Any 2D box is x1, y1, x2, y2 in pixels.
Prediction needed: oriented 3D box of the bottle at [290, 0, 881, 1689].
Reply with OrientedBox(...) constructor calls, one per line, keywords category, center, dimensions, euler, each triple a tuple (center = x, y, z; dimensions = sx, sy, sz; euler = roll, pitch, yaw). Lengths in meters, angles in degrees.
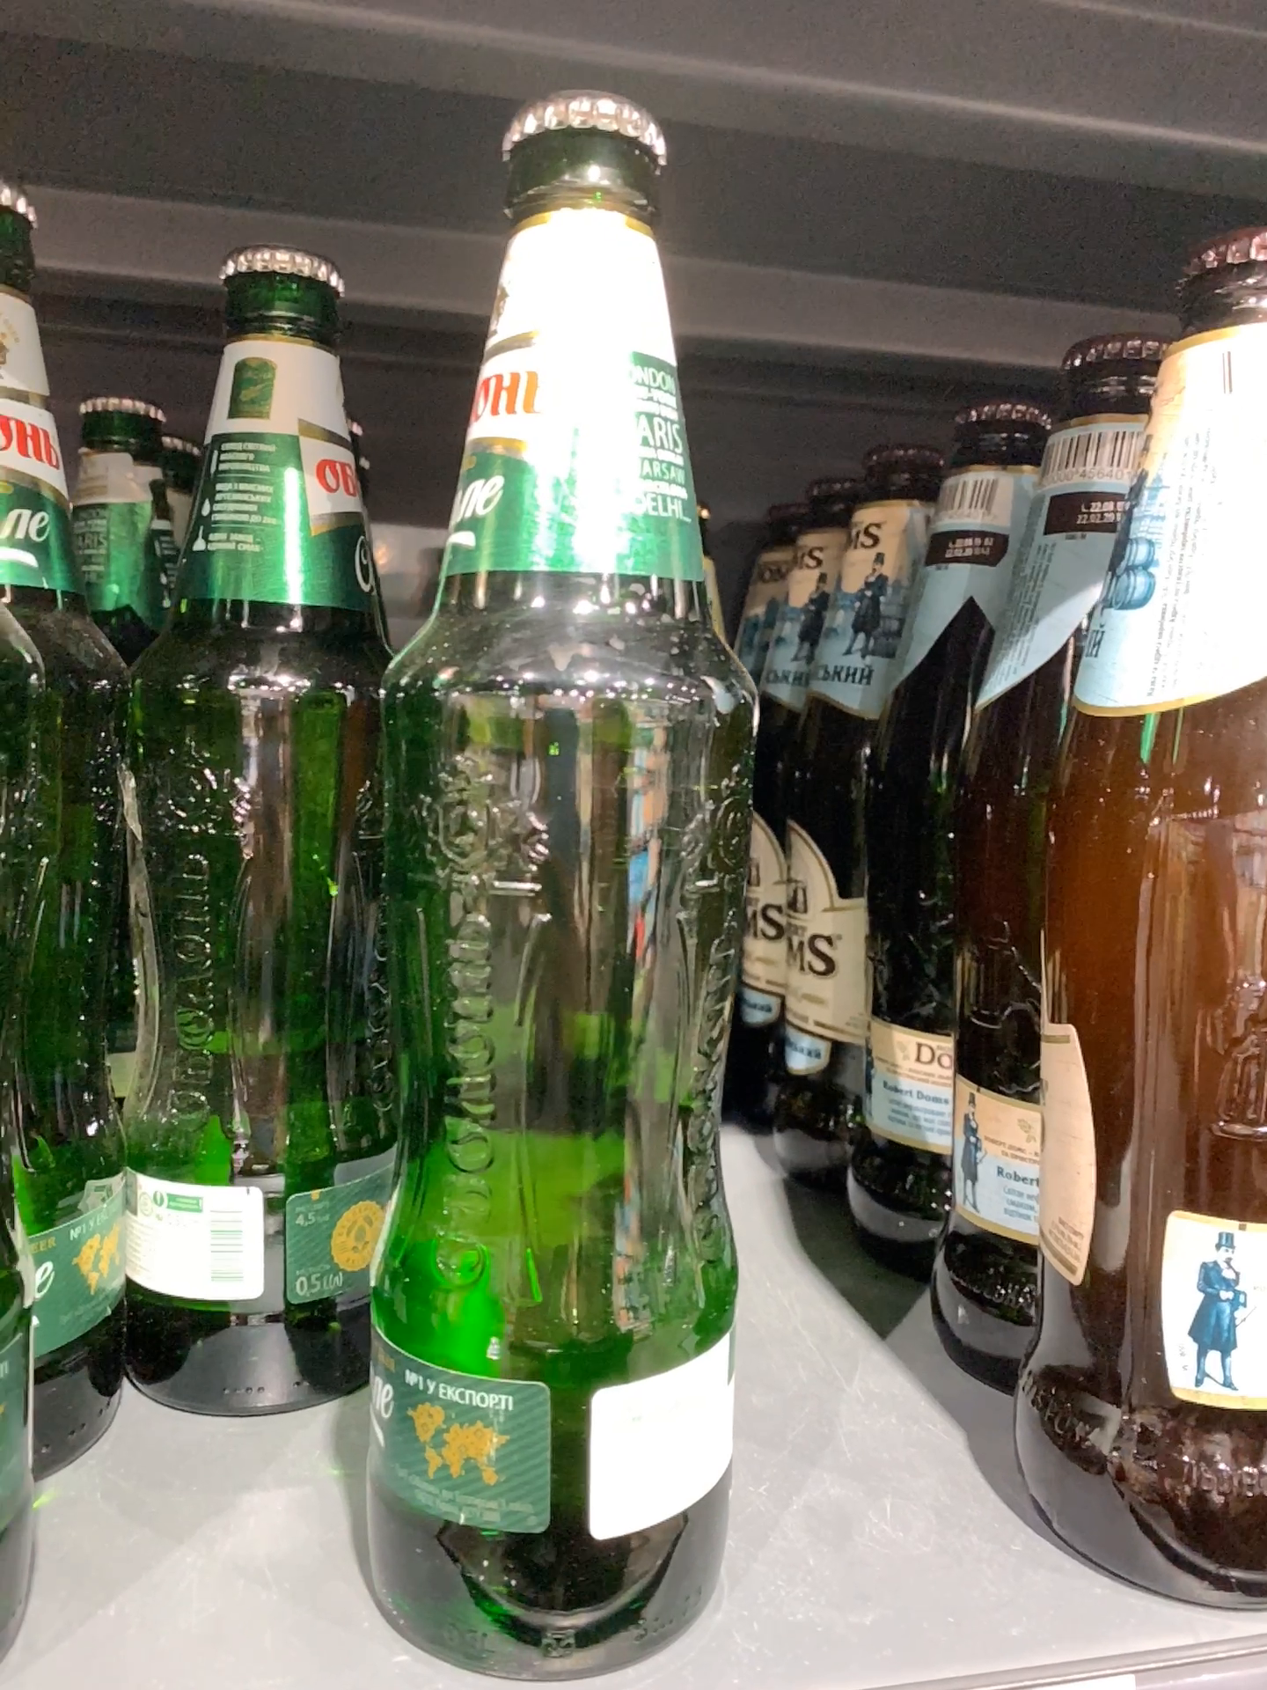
OrientedBox(category="bottle", center=(-0.013, 0.001, 0.233), dimensions=(0.070, 0.257, 0.073), euler=(2, 5, 0))
